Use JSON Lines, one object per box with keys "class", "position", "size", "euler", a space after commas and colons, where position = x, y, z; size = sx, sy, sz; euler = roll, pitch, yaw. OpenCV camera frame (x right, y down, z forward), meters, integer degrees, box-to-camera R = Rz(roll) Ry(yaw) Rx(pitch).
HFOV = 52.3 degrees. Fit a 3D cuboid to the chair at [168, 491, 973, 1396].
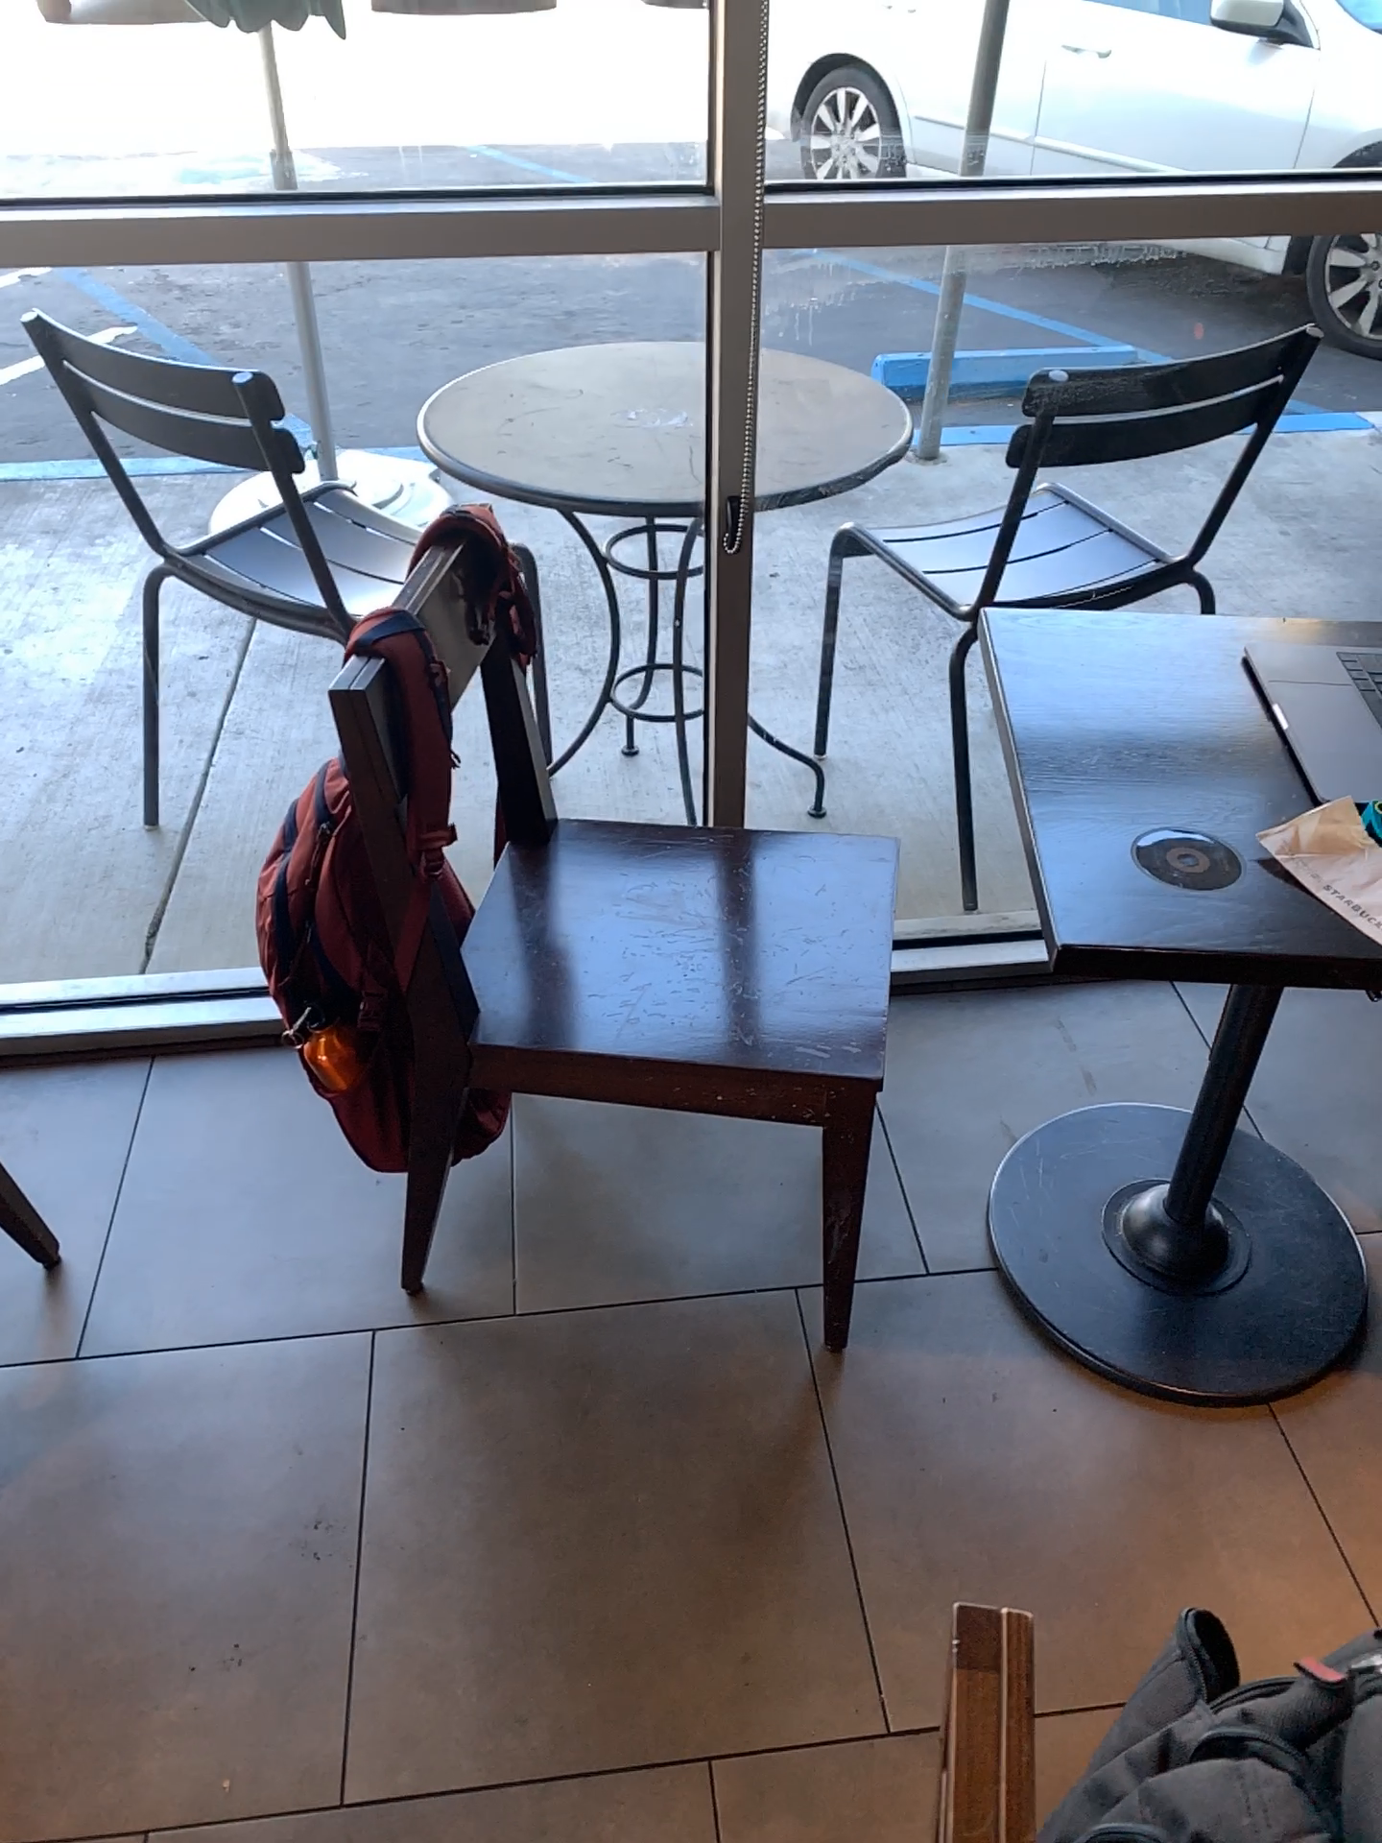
{"class": "chair", "position": [-0.078, 0.016, 1.807], "size": [0.740, 0.855, 0.694], "euler": [5, 39, 6]}
